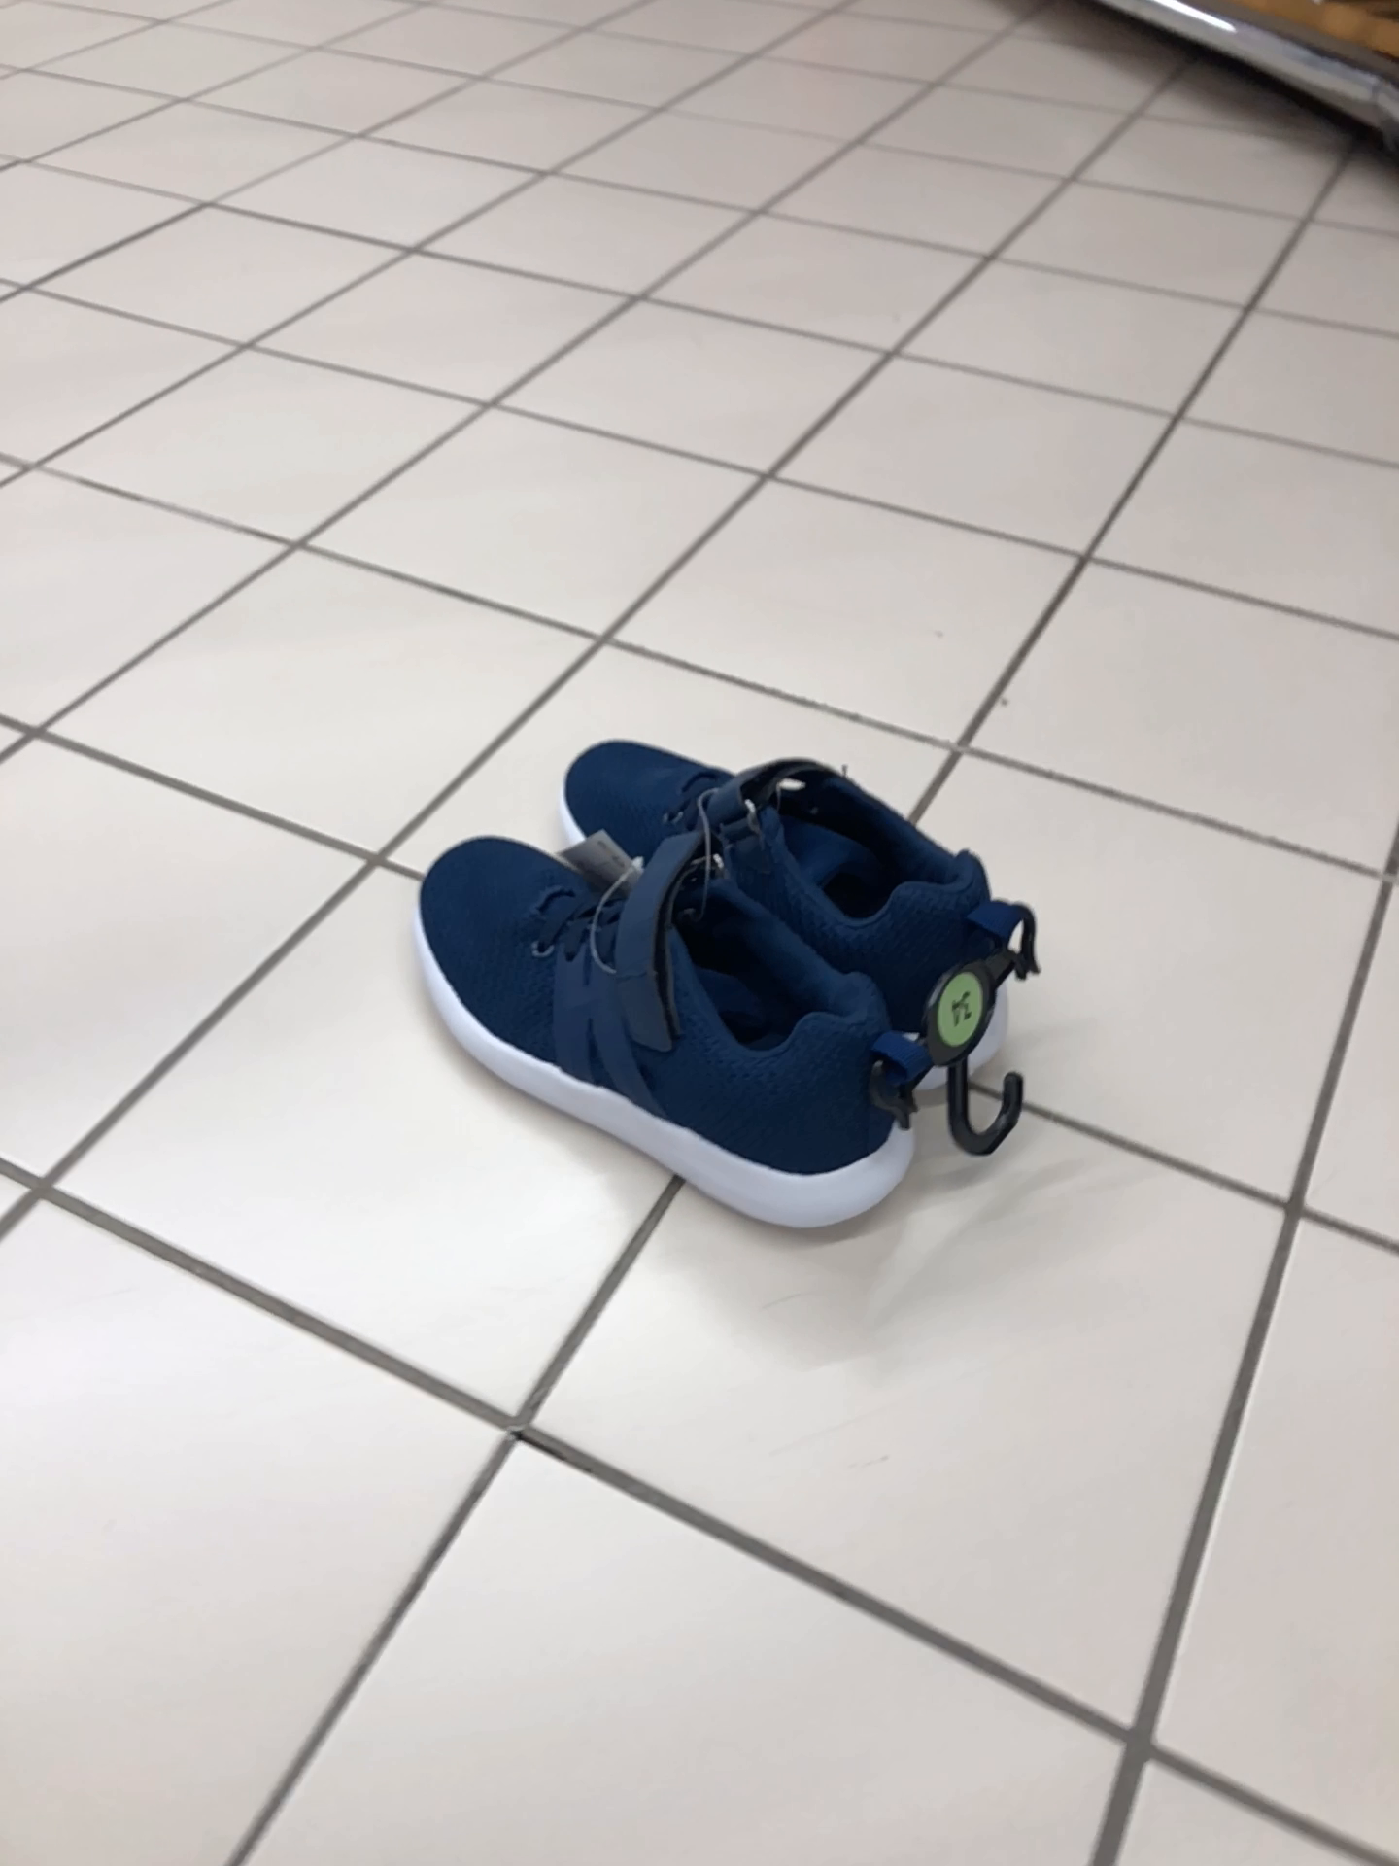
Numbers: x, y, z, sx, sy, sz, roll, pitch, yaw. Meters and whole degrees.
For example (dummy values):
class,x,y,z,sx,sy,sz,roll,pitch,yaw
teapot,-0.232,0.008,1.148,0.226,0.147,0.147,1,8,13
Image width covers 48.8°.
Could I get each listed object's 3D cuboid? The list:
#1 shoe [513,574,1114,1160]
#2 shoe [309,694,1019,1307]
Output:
class,x,y,z,sx,sy,sz,roll,pitch,yaw
shoe,0.034,-0.038,0.623,0.103,0.094,0.236,-27,50,-26
shoe,-0.018,0.016,0.564,0.238,0.095,0.094,28,50,26
